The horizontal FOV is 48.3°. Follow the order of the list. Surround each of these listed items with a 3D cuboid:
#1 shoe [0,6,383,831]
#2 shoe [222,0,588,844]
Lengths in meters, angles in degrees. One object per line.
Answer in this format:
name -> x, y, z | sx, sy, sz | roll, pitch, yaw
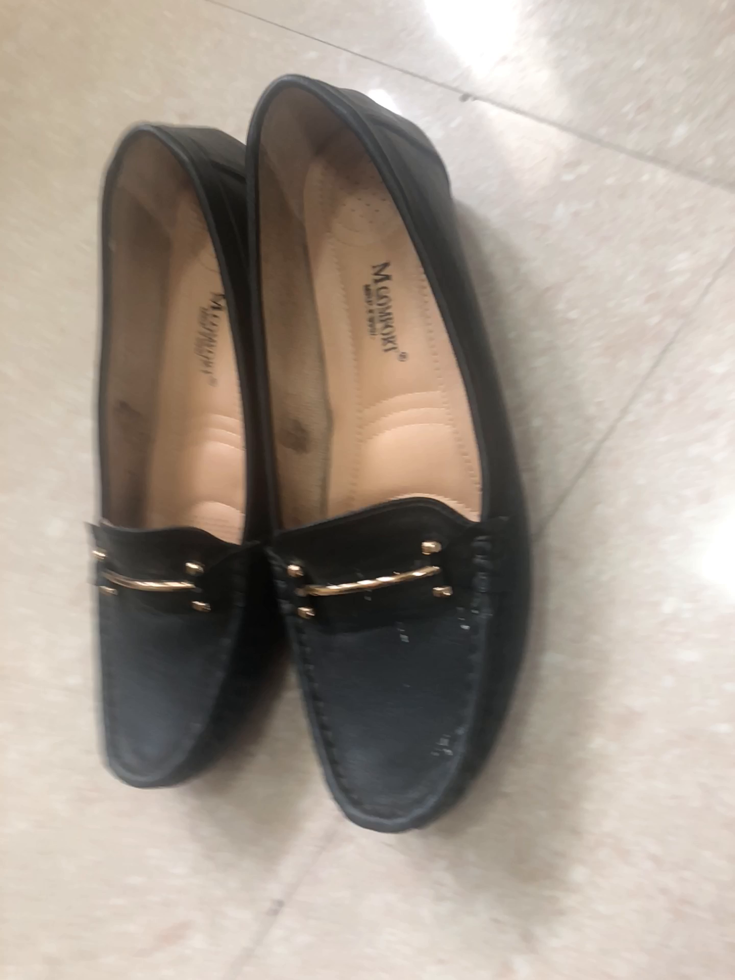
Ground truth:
shoe -> -0.066, -0.031, 0.353 | 0.100, 0.080, 0.310 | -2, 77, 28
shoe -> 0.011, -0.038, 0.318 | 0.100, 0.080, 0.310 | -9, 74, 26
